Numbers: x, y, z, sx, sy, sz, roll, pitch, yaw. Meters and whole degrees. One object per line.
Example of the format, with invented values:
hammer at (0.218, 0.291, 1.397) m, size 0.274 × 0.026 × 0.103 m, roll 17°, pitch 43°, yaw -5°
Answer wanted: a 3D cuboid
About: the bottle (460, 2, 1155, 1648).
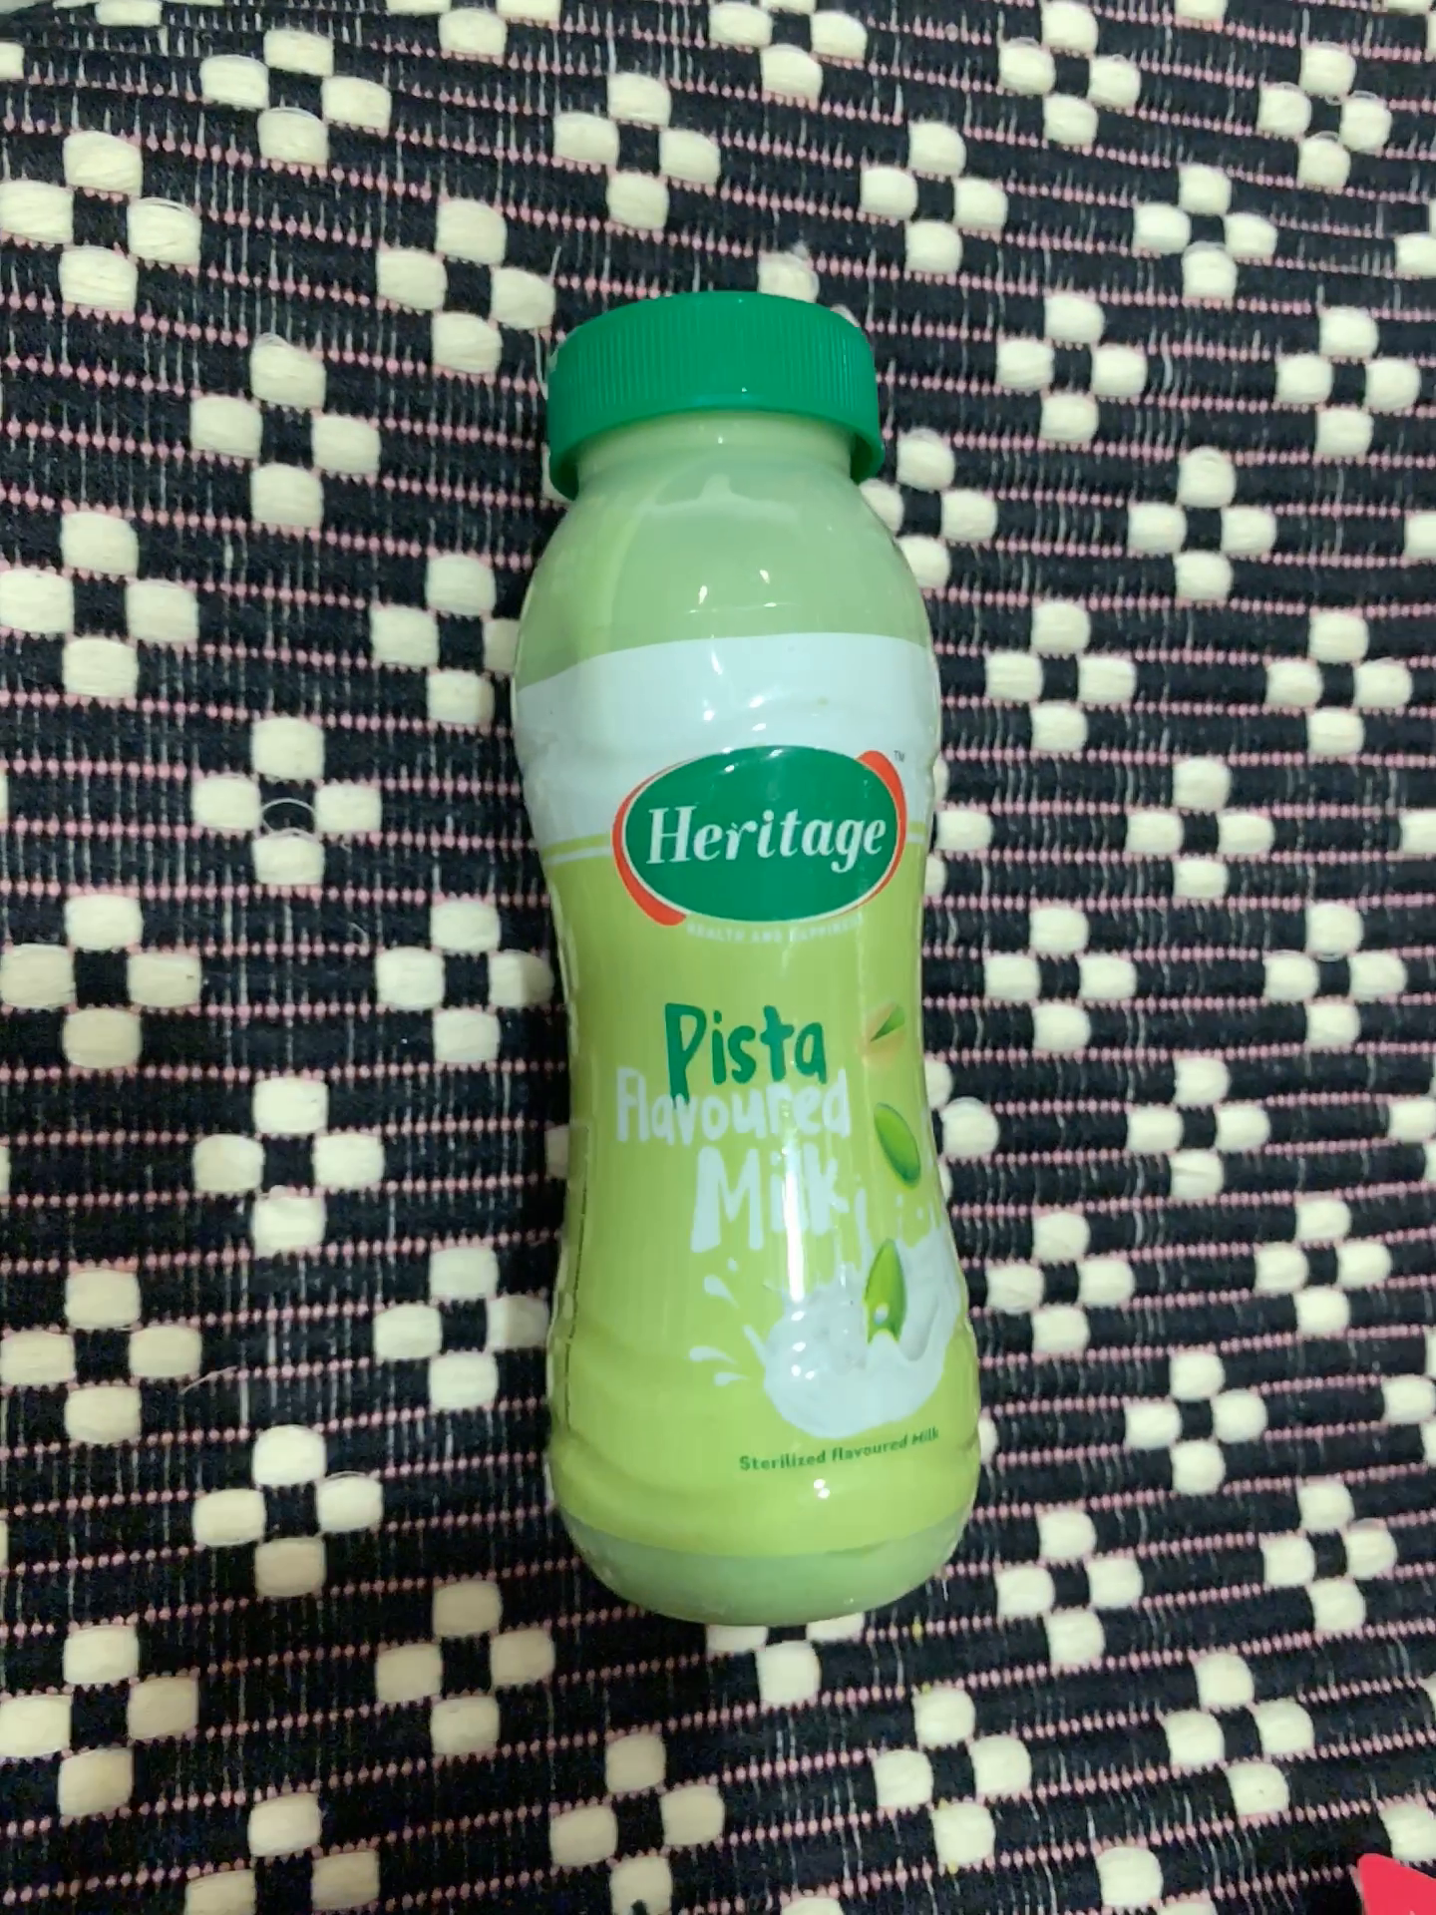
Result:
bottle at (0.005, -0.014, 0.168) m, size 0.050 × 0.050 × 0.150 m, roll -4°, pitch 87°, yaw -18°
